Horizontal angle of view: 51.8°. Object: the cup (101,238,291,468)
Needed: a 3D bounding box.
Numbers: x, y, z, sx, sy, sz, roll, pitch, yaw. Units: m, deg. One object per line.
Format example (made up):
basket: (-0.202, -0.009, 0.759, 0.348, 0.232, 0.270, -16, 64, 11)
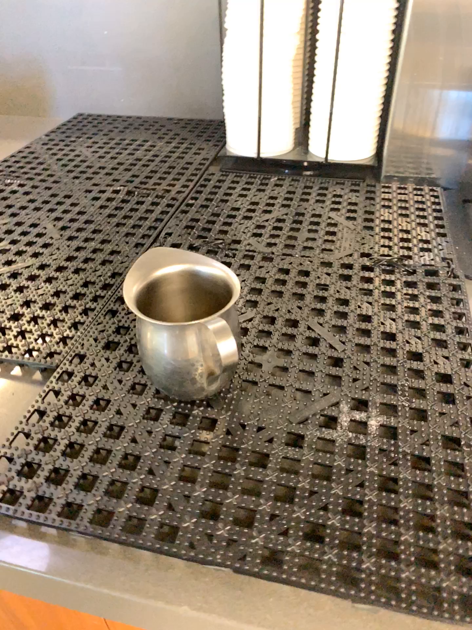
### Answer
cup: (-0.027, 0.016, 0.296, 0.070, 0.070, 0.111, -18, 41, -20)
